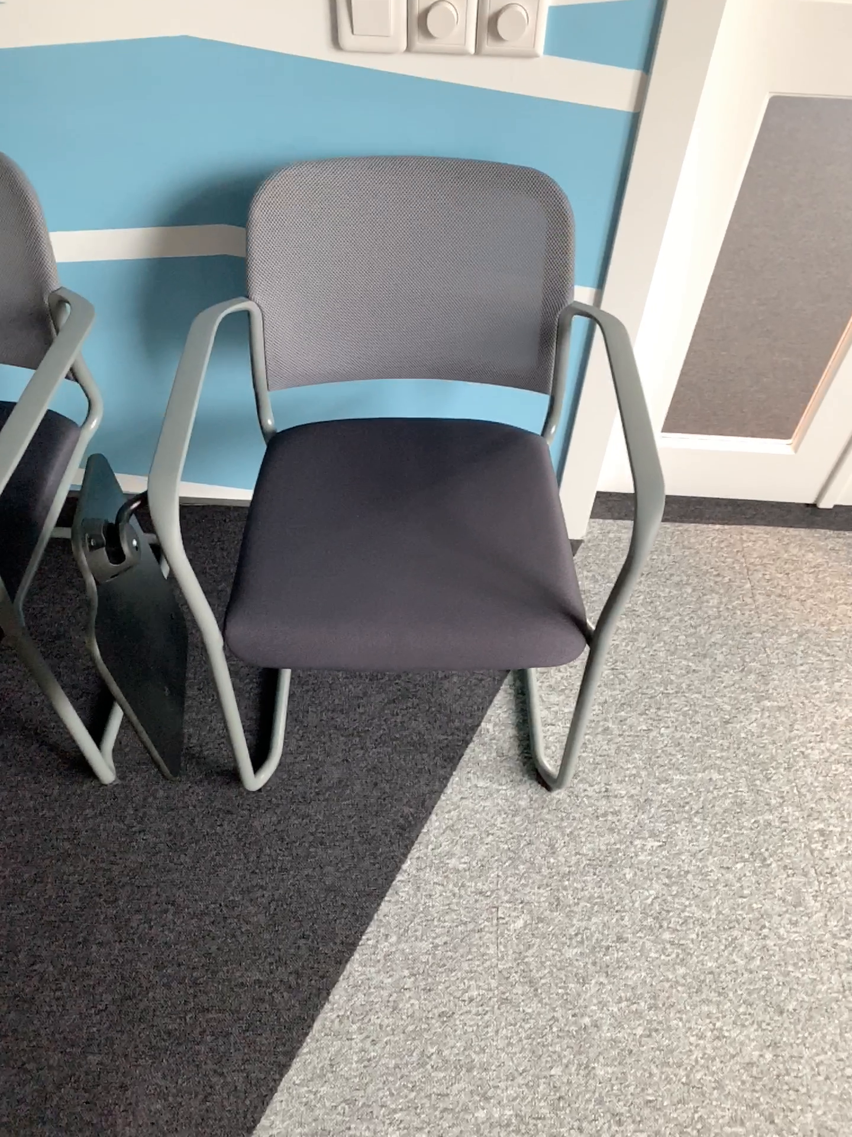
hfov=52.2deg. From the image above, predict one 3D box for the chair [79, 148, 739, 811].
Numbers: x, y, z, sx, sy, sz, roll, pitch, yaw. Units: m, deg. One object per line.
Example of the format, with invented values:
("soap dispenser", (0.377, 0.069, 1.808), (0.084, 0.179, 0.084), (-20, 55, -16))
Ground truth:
("chair", (-0.021, -0.100, 1.195), (0.570, 0.627, 0.643), (1, 53, -1))
